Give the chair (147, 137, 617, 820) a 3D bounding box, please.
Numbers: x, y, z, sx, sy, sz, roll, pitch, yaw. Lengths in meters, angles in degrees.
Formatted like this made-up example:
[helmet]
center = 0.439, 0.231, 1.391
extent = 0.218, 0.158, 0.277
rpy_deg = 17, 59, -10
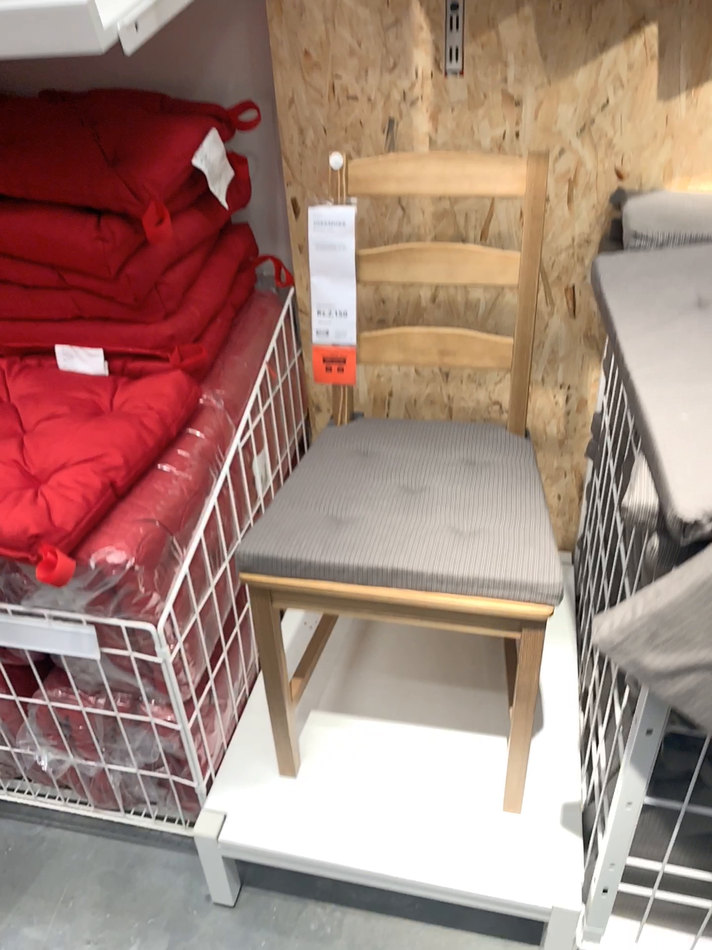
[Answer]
[chair]
center = 0.086, 0.006, 1.111
extent = 0.440, 0.866, 0.502
rpy_deg = 4, 34, 12
